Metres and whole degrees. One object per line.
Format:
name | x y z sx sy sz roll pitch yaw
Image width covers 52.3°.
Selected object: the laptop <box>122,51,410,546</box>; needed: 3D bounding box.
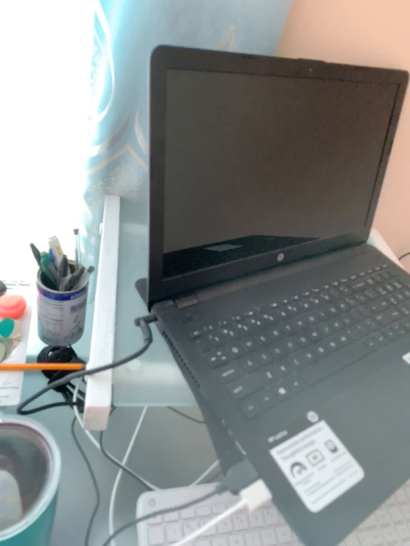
laptop | 0.165 -0.029 0.398 0.364 0.222 0.308 -15 48 -34
